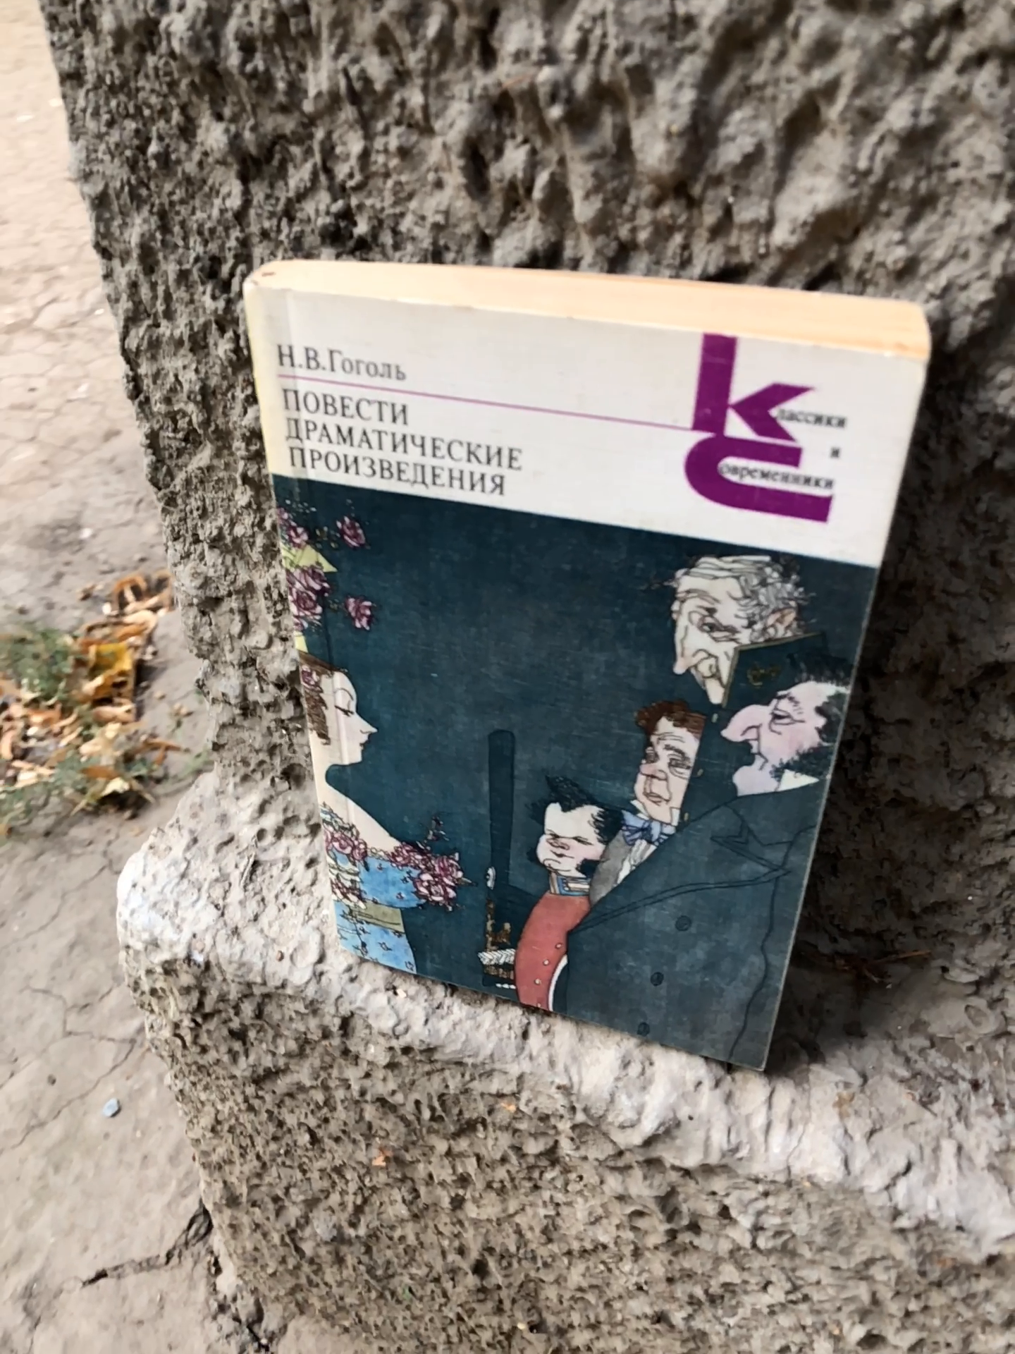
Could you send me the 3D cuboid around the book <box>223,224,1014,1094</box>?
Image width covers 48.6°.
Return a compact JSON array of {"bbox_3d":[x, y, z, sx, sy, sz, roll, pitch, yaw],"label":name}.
[{"bbox_3d":[0.017,0.007,0.254,0.137,0.190,0.030,10,36,12],"label":"book"}]
